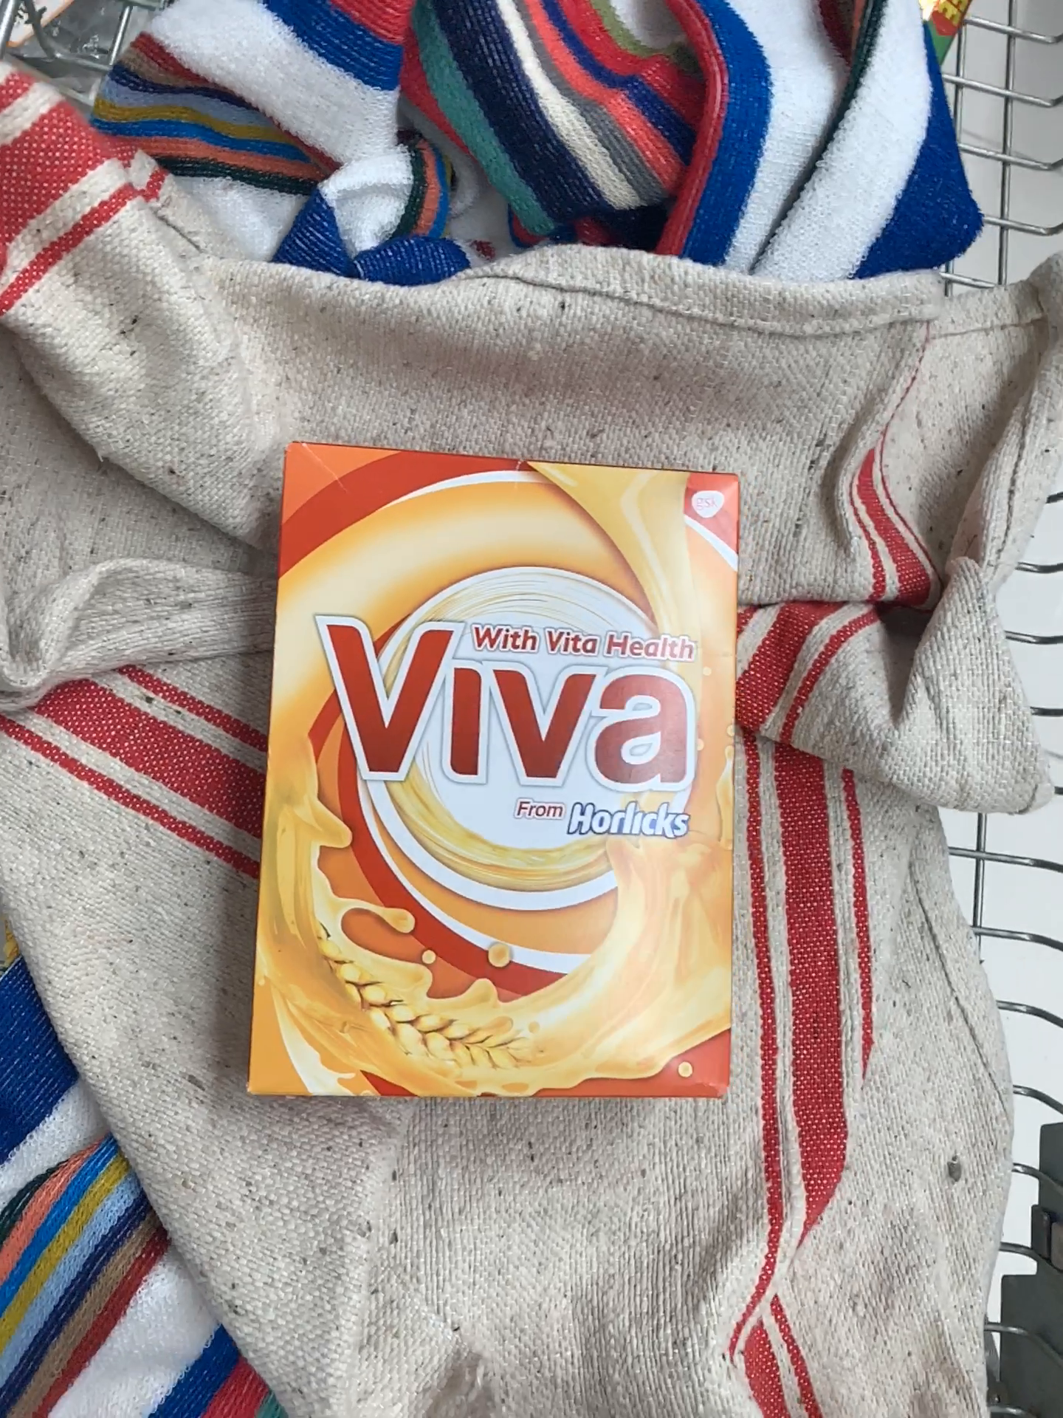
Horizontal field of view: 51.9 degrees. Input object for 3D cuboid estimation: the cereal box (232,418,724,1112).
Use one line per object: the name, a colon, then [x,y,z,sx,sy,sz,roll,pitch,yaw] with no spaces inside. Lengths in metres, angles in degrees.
cereal box: [-0.017,0.020,0.361,0.140,0.070,0.200,3,85,-9]
